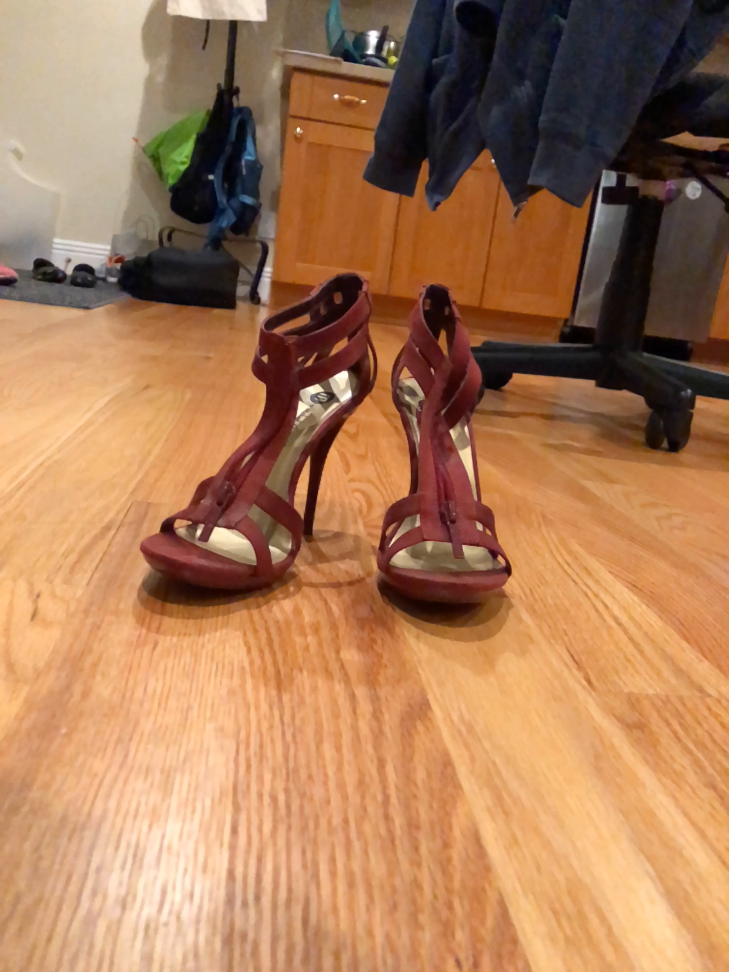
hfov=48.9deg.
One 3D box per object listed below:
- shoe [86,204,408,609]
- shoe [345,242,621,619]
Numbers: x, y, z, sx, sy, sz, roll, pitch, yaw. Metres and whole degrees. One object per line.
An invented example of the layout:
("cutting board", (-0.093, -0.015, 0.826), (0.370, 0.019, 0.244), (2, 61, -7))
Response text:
("shoe", (-0.056, -0.054, 0.464), (0.085, 0.175, 0.199), (12, 15, 17))
("shoe", (0.052, -0.048, 0.483), (0.085, 0.175, 0.207), (6, 14, -9))
